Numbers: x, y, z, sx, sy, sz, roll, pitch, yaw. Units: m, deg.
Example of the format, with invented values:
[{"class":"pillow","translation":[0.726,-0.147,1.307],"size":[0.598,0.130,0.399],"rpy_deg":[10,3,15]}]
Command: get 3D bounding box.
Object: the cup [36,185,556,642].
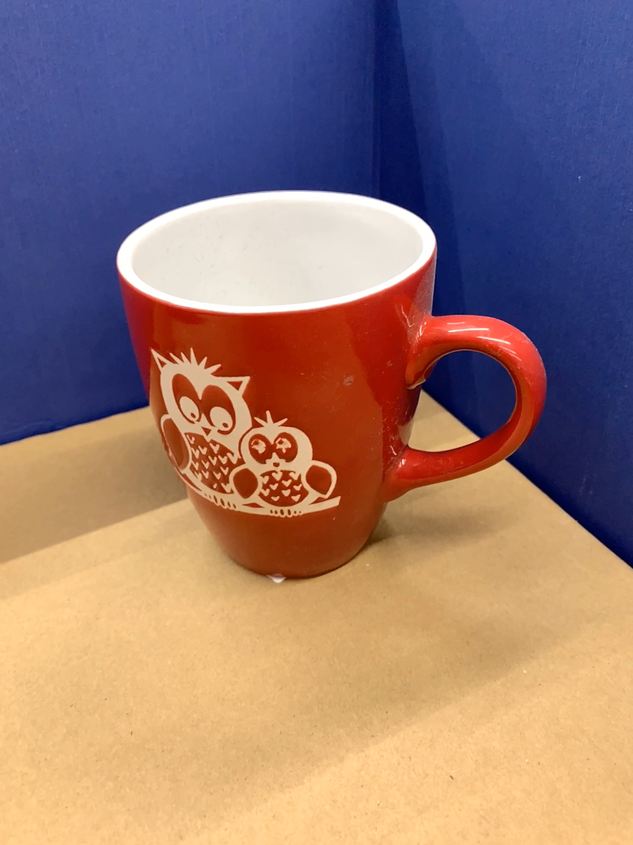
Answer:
[{"class":"cup","translation":[0.004,-0.013,0.211],"size":[0.120,0.091,0.100],"rpy_deg":[8,34,14]}]
